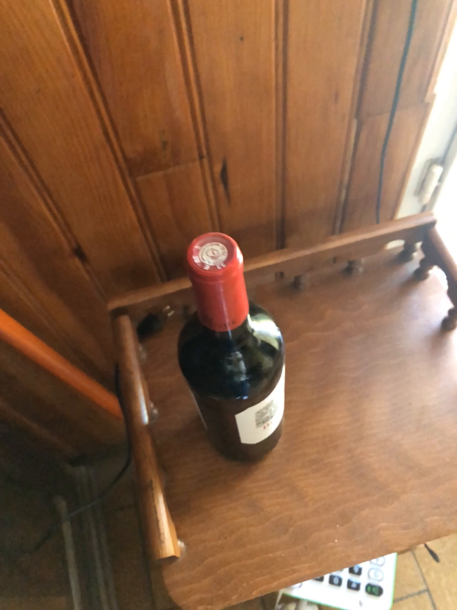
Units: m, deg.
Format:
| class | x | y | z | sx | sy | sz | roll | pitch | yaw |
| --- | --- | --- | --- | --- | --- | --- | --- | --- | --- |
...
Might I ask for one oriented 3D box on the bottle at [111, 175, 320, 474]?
| class | x | y | z | sx | sy | sz | roll | pitch | yaw |
| --- | --- | --- | --- | --- | --- | --- | --- | --- | --- |
| bottle | 0.006 | 0.047 | 0.393 | 0.080 | 0.309 | 0.080 | -2 | 61 | 4 |
